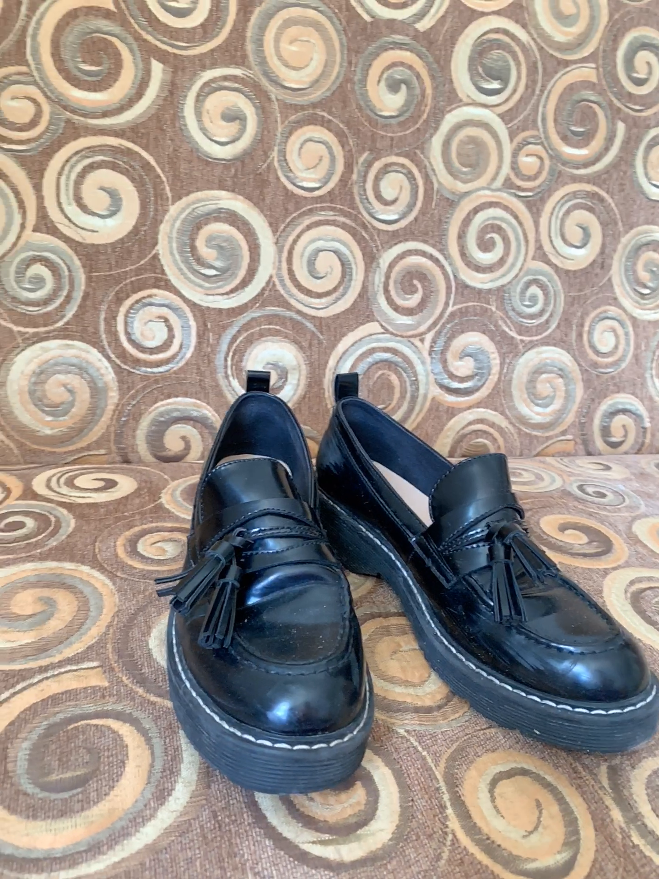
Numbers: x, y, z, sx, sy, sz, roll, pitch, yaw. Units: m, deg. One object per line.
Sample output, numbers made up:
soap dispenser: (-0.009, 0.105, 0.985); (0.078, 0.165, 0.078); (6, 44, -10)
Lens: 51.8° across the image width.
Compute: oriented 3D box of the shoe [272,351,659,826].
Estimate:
shoe: (0.071, 0.046, 0.353); (0.090, 0.099, 0.241); (-9, 31, -32)

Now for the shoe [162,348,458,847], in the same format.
shoe: (-0.030, 0.046, 0.334); (0.090, 0.099, 0.241); (2, 27, -12)
